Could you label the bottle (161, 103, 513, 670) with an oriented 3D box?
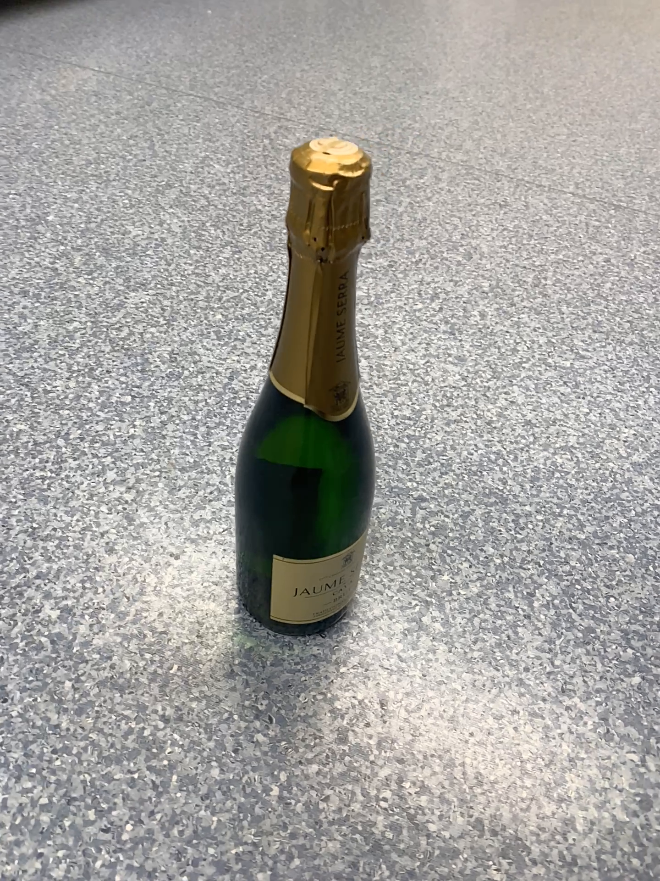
[{"bbox_3d":[-0.009,-0.011,0.382,0.104,0.291,0.105,4,44,-3],"label":"bottle"}]
